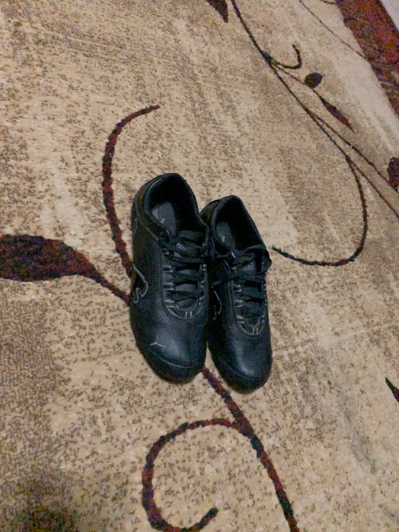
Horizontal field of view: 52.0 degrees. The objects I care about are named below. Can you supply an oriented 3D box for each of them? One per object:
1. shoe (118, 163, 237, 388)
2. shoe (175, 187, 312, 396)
[{"bbox_3d":[-0.034,0.008,0.480,0.086,0.073,0.244,5,63,-30],"label":"shoe"},{"bbox_3d":[0.048,0.027,0.519,0.088,0.073,0.244,0,65,-32],"label":"shoe"}]
